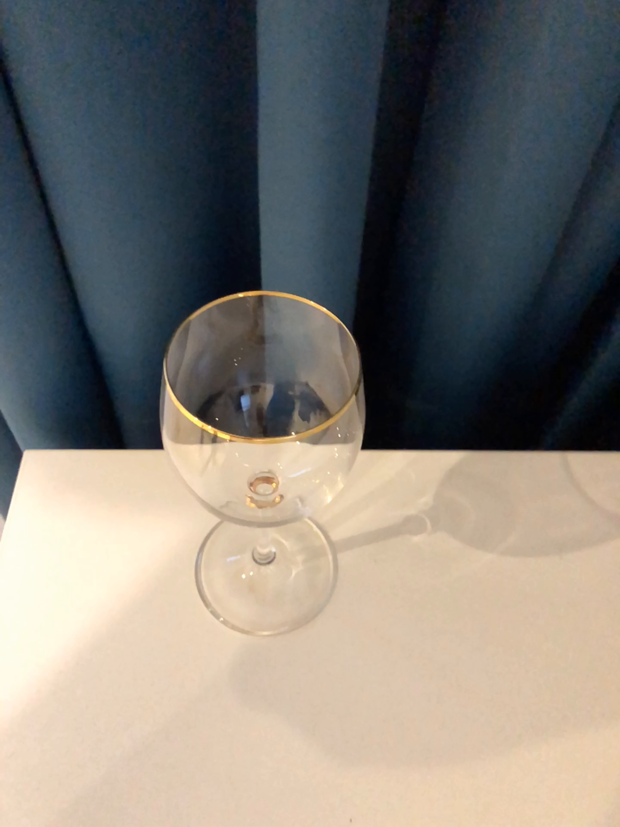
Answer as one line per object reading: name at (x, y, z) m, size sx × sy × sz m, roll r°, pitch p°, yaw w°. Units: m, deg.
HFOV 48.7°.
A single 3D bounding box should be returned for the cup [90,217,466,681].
cup at (-0.012, 0.025, 0.323) m, size 0.100 × 0.179 × 0.101 m, roll 1°, pitch 51°, yaw -2°
